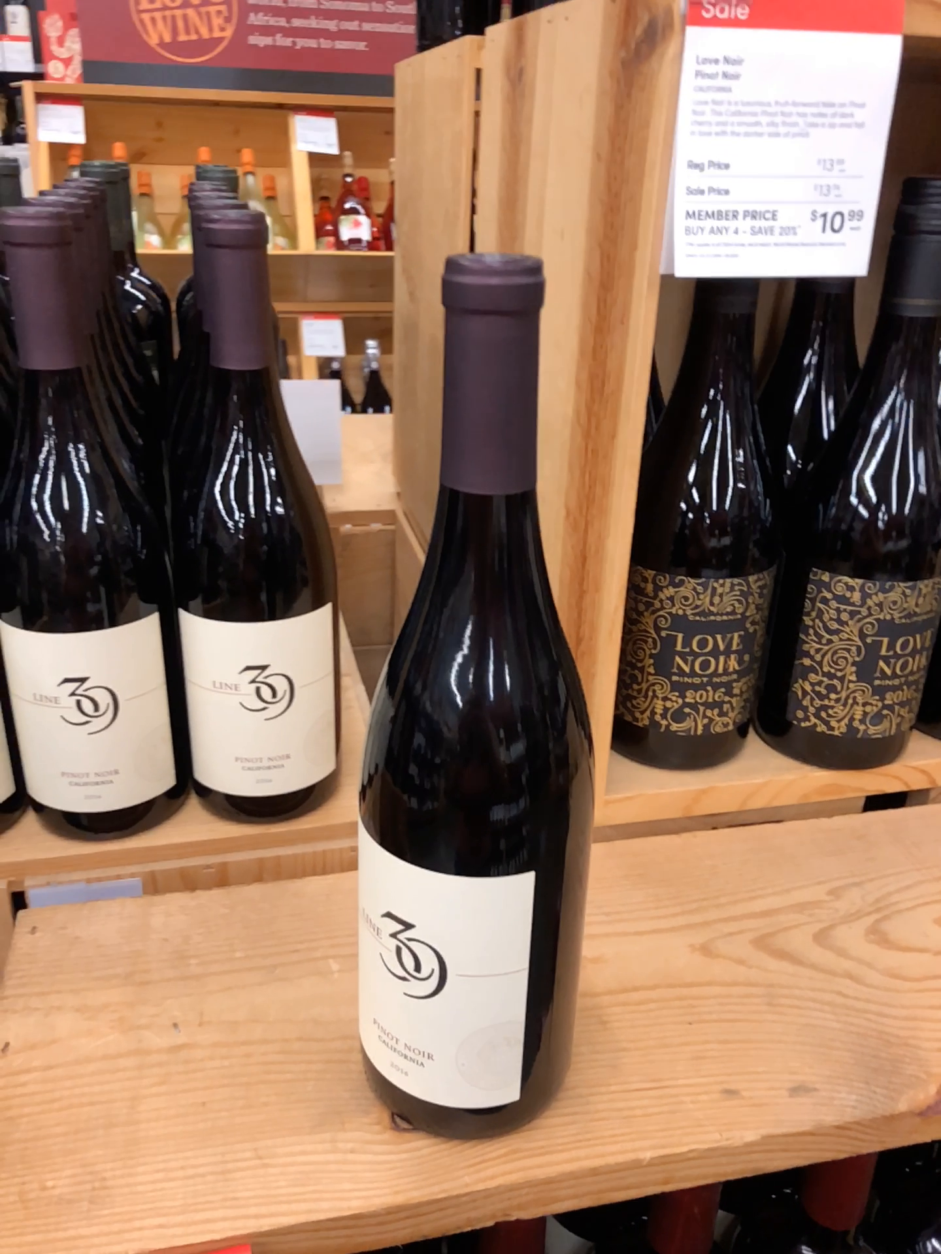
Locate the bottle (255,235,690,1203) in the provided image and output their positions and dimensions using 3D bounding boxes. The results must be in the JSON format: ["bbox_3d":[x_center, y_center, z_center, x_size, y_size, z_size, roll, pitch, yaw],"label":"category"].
[{"bbox_3d":[-0.003,0.032,0.327,0.080,0.283,0.080,2,24,-1],"label":"bottle"}]
